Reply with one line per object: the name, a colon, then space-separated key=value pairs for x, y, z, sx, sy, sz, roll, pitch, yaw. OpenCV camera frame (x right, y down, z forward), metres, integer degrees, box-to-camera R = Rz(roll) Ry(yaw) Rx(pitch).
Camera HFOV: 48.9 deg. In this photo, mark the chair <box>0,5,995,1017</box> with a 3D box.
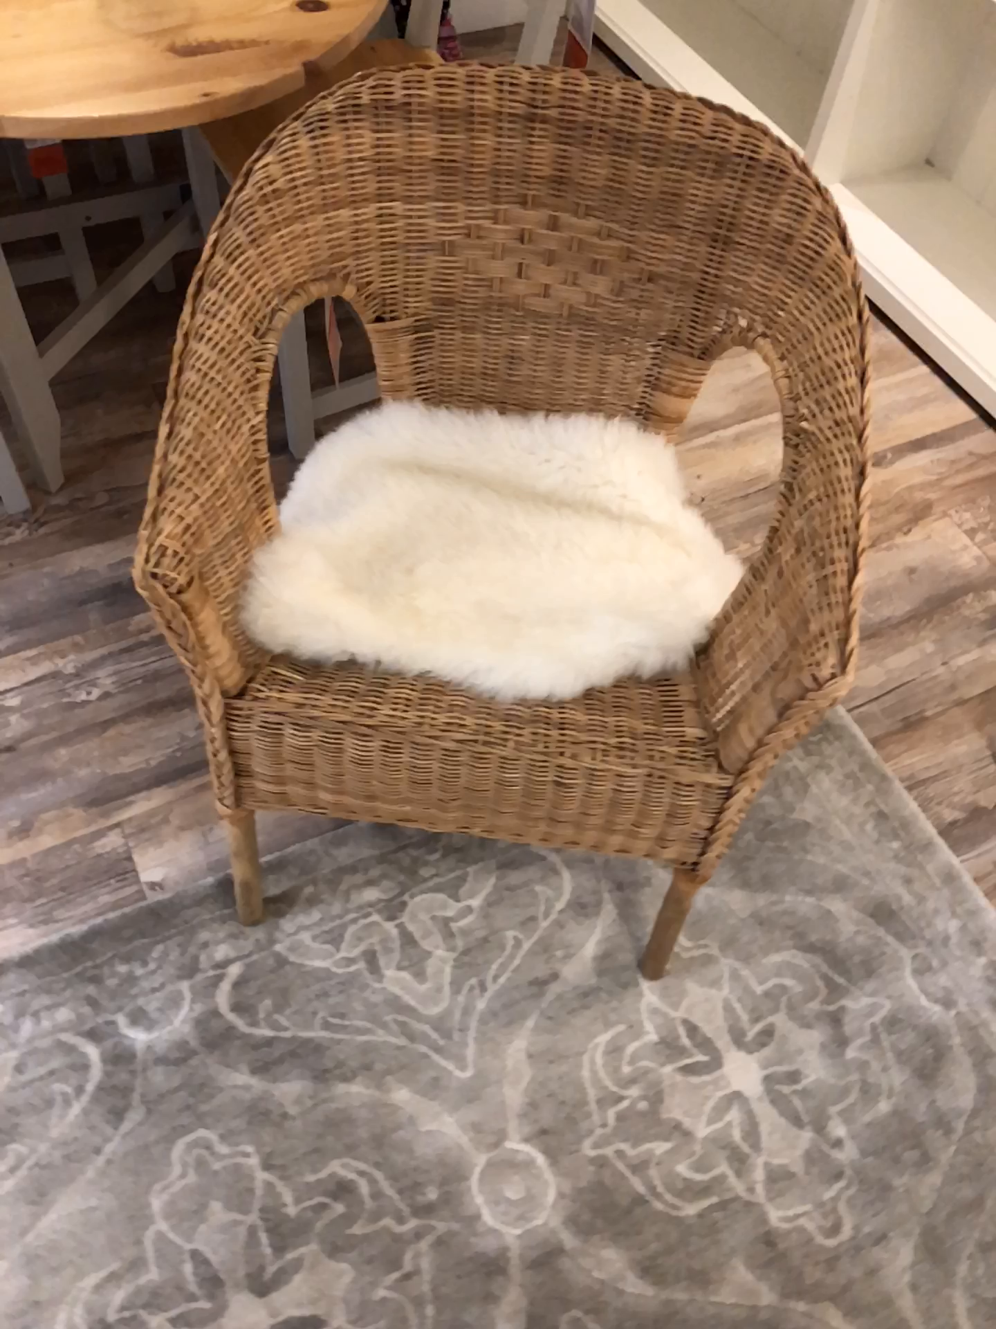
chair: x=0.010 y=-0.114 z=1.140 sx=0.650 sy=0.718 sz=0.632 roll=9 pitch=54 yaw=1
